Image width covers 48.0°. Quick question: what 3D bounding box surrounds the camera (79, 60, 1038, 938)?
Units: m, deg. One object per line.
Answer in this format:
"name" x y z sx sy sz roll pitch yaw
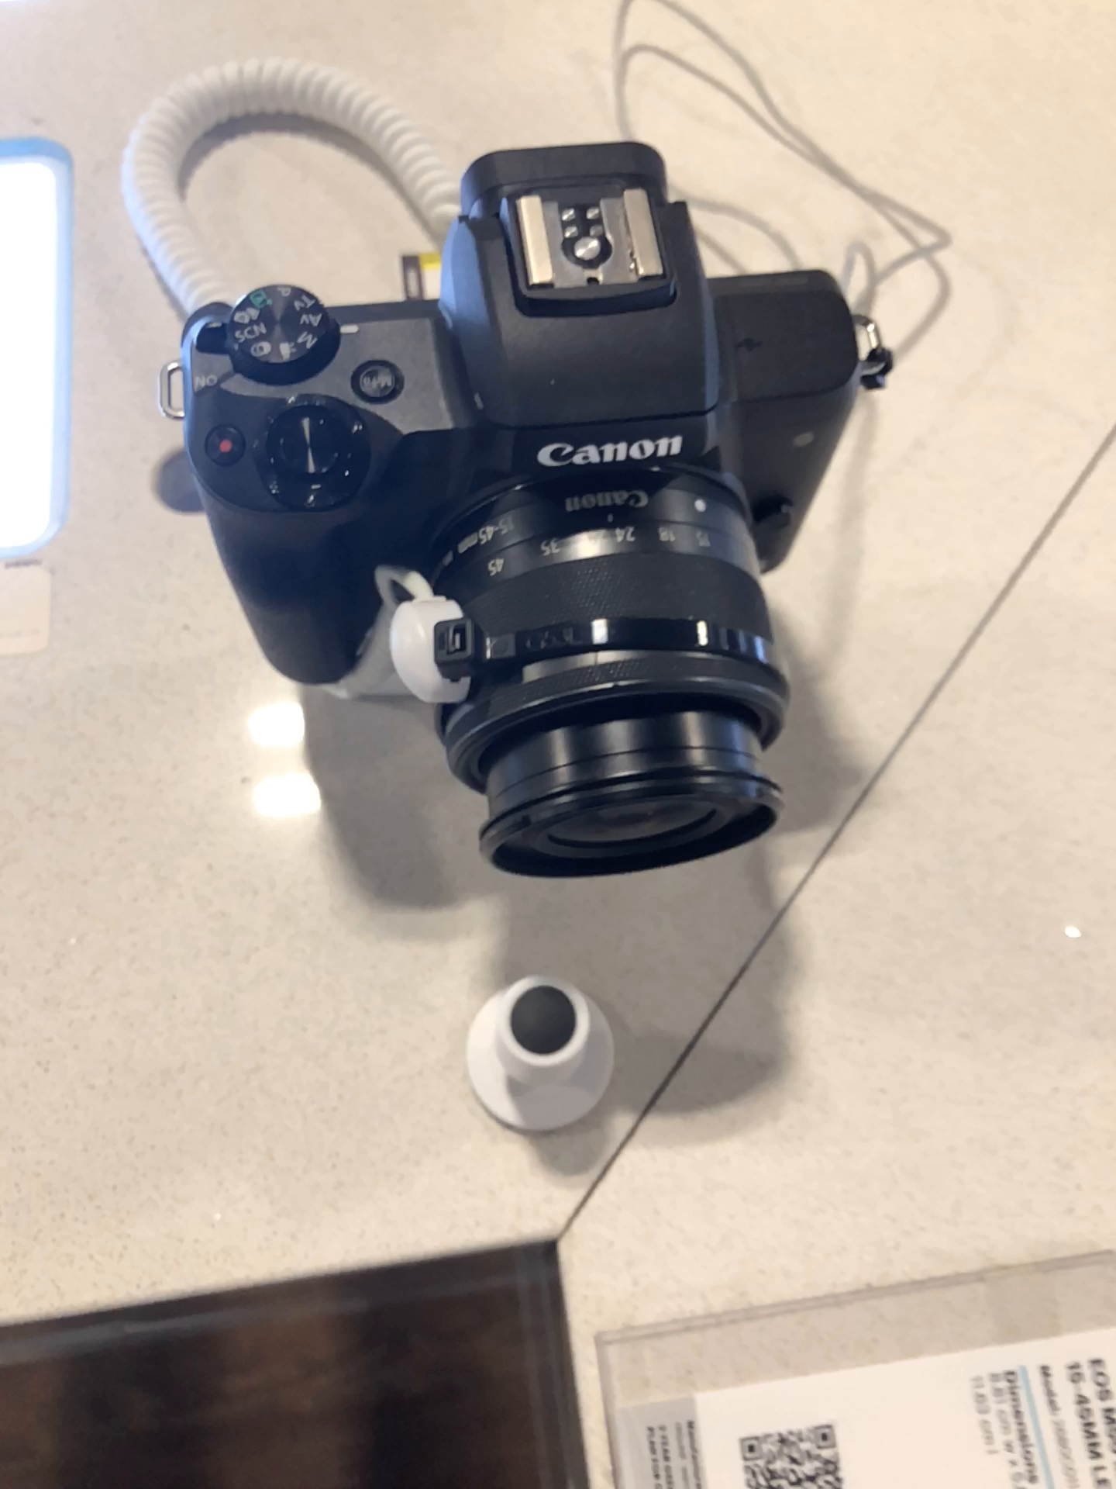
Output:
"camera" -0.008 -0.042 0.228 0.130 0.080 0.120 -7 67 -5
